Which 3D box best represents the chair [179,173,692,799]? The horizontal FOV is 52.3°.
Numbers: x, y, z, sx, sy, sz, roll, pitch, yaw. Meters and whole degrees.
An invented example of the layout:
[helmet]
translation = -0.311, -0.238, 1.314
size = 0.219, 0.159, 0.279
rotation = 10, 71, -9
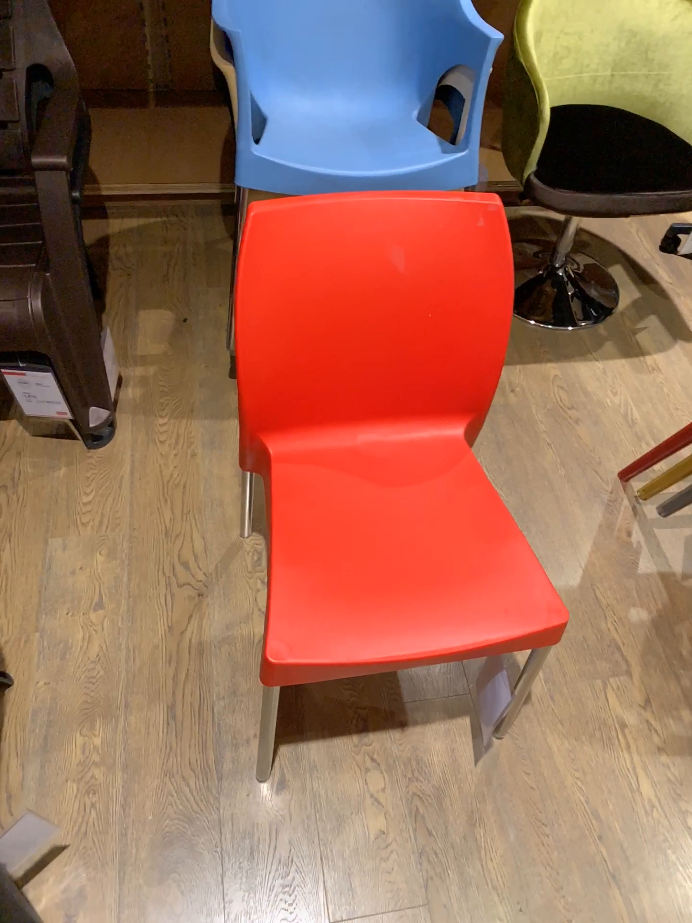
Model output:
[chair]
translation = 0.060, 0.079, 1.120
size = 0.520, 0.788, 0.592
rotation = -6, 53, -10
